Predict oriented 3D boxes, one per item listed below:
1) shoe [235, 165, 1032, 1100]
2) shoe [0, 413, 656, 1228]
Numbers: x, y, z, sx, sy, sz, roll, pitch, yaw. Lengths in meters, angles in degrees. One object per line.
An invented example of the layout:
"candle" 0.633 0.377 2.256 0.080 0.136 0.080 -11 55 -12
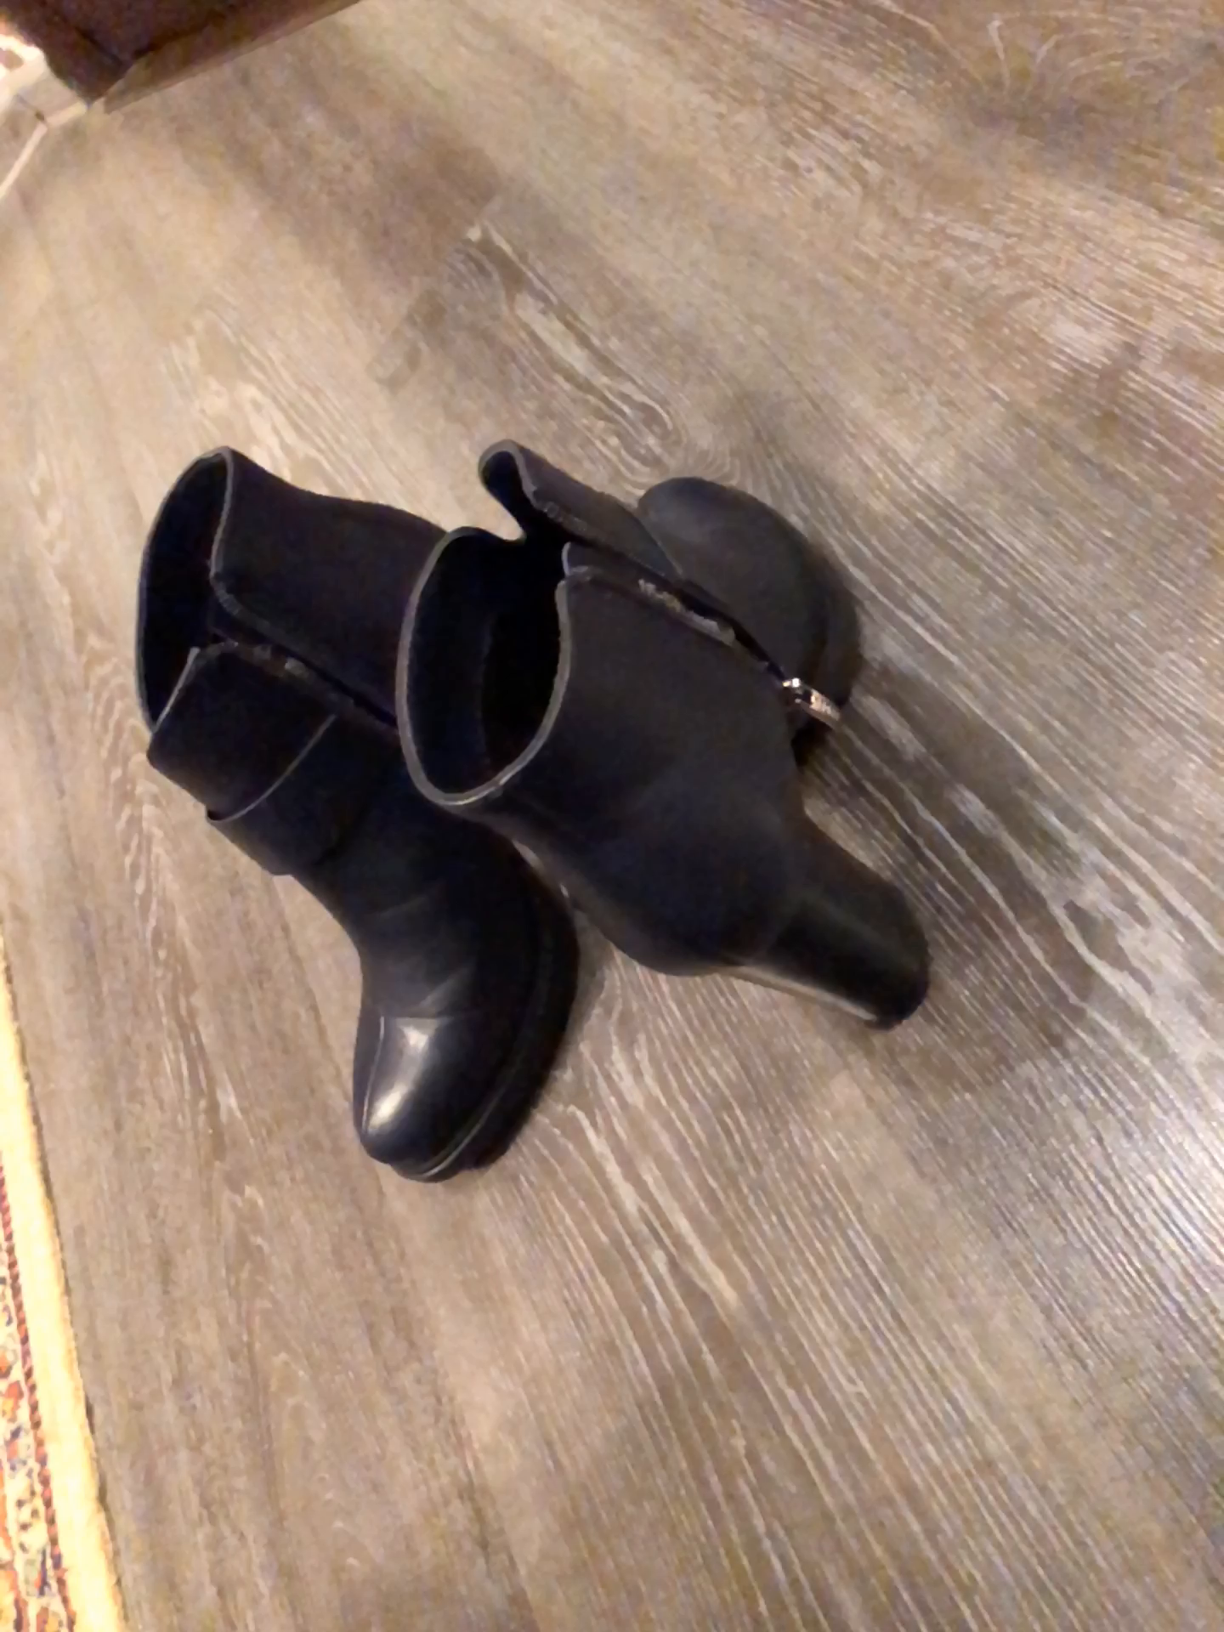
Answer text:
"shoe" 0.002 -0.047 0.404 0.090 0.189 0.211 -37 50 26
"shoe" -0.102 0.013 0.461 0.090 0.189 0.210 2 73 44
